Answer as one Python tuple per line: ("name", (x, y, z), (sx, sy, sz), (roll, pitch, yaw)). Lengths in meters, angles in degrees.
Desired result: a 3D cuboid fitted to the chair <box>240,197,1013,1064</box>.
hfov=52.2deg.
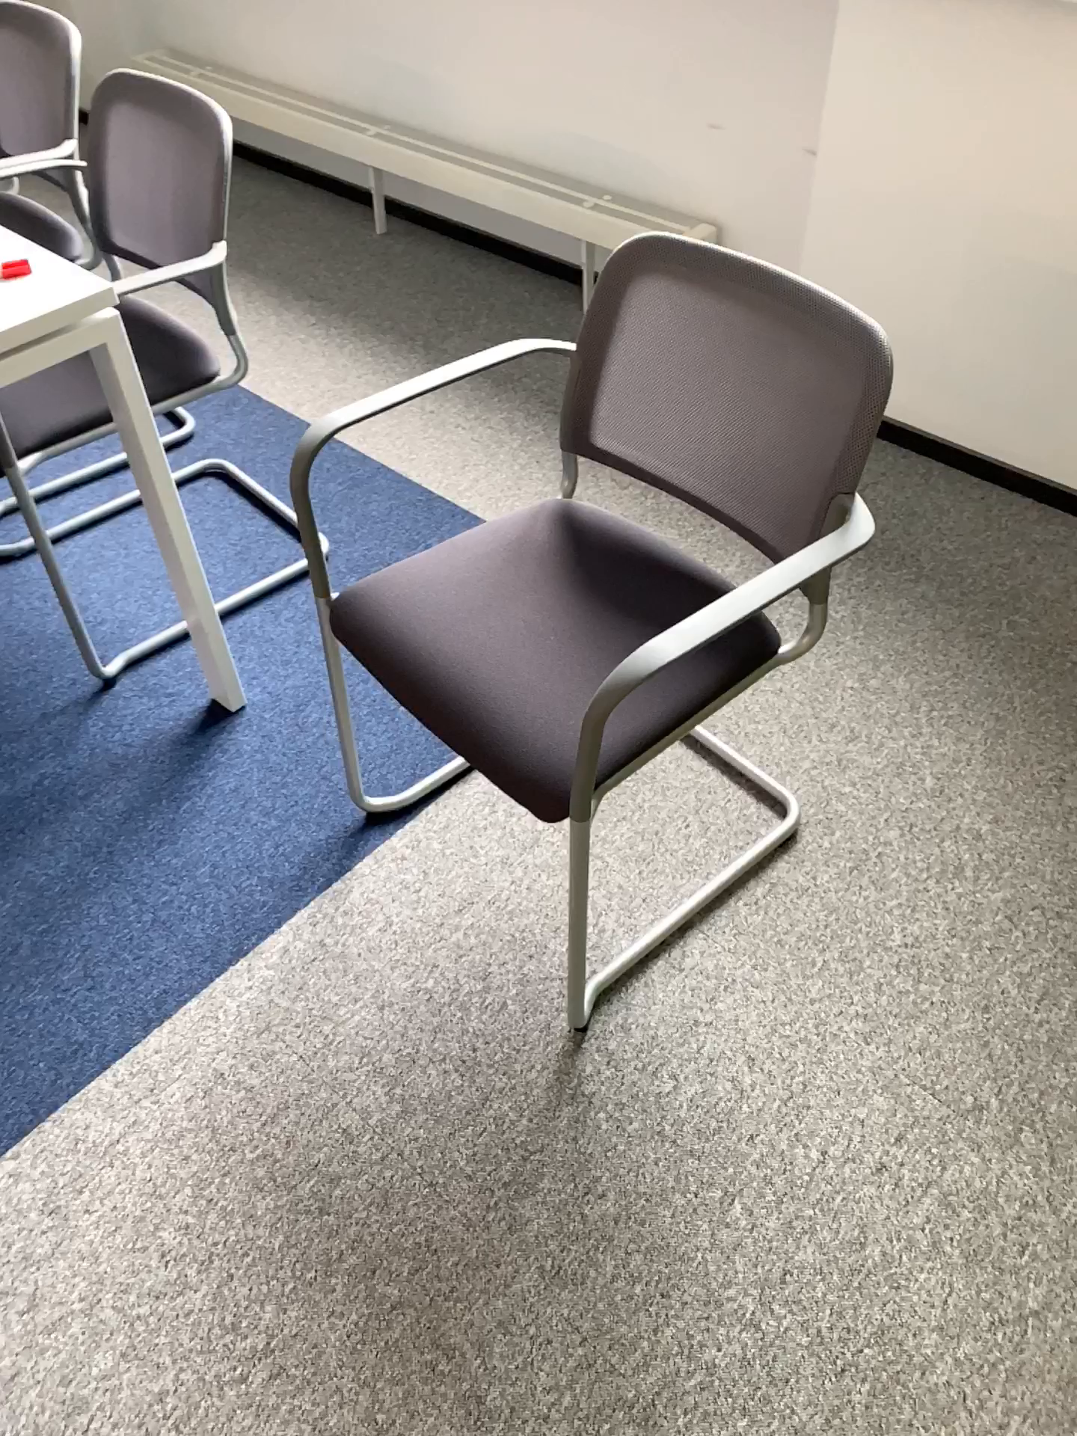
("chair", (0.081, -0.104, 1.319), (0.521, 0.726, 0.532), (-31, 53, -25))
